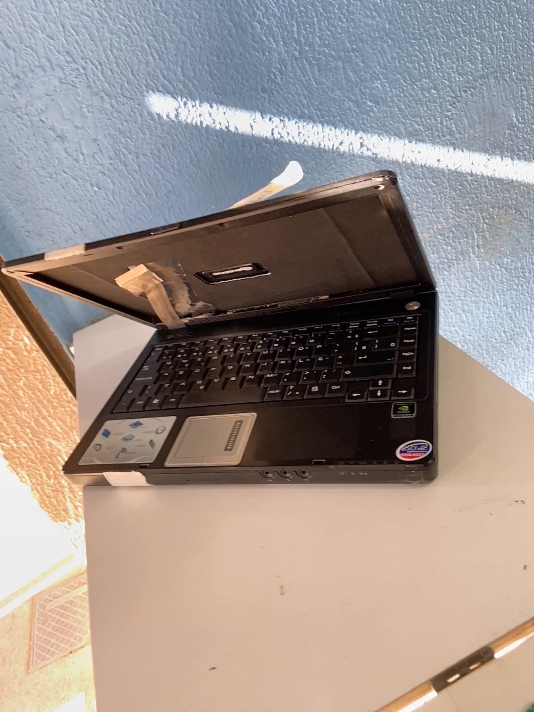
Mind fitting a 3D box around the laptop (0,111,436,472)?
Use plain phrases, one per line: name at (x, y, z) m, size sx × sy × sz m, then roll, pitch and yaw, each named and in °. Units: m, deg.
laptop at (-0.038, -0.048, 0.477) m, size 0.328 × 0.175 × 0.225 m, roll -6°, pitch 35°, yaw 22°
